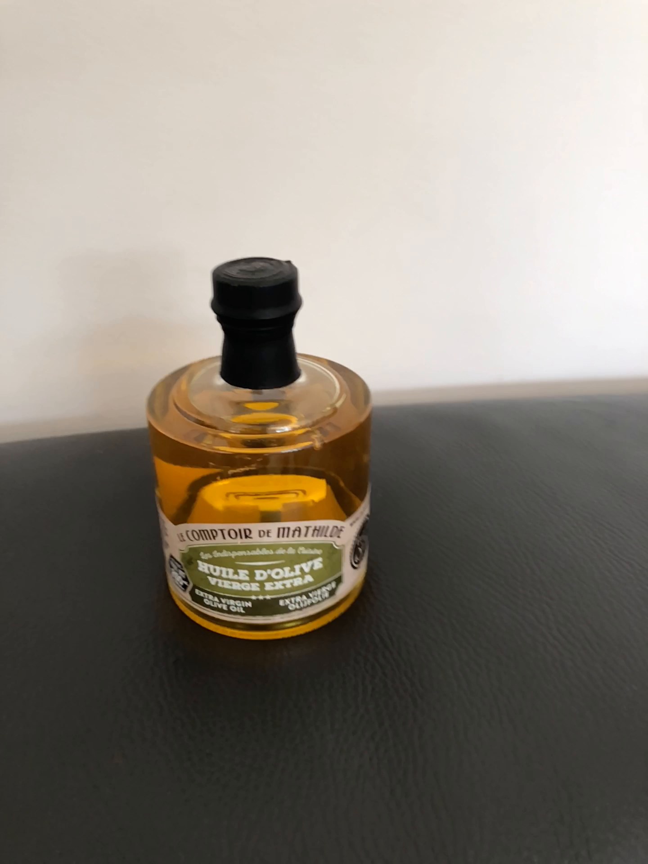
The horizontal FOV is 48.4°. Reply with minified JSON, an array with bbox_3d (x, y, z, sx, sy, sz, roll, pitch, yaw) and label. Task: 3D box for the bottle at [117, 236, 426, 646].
[{"bbox_3d":[-0.017,0.001,0.281,0.090,0.129,0.091,2,28,-1],"label":"bottle"}]
